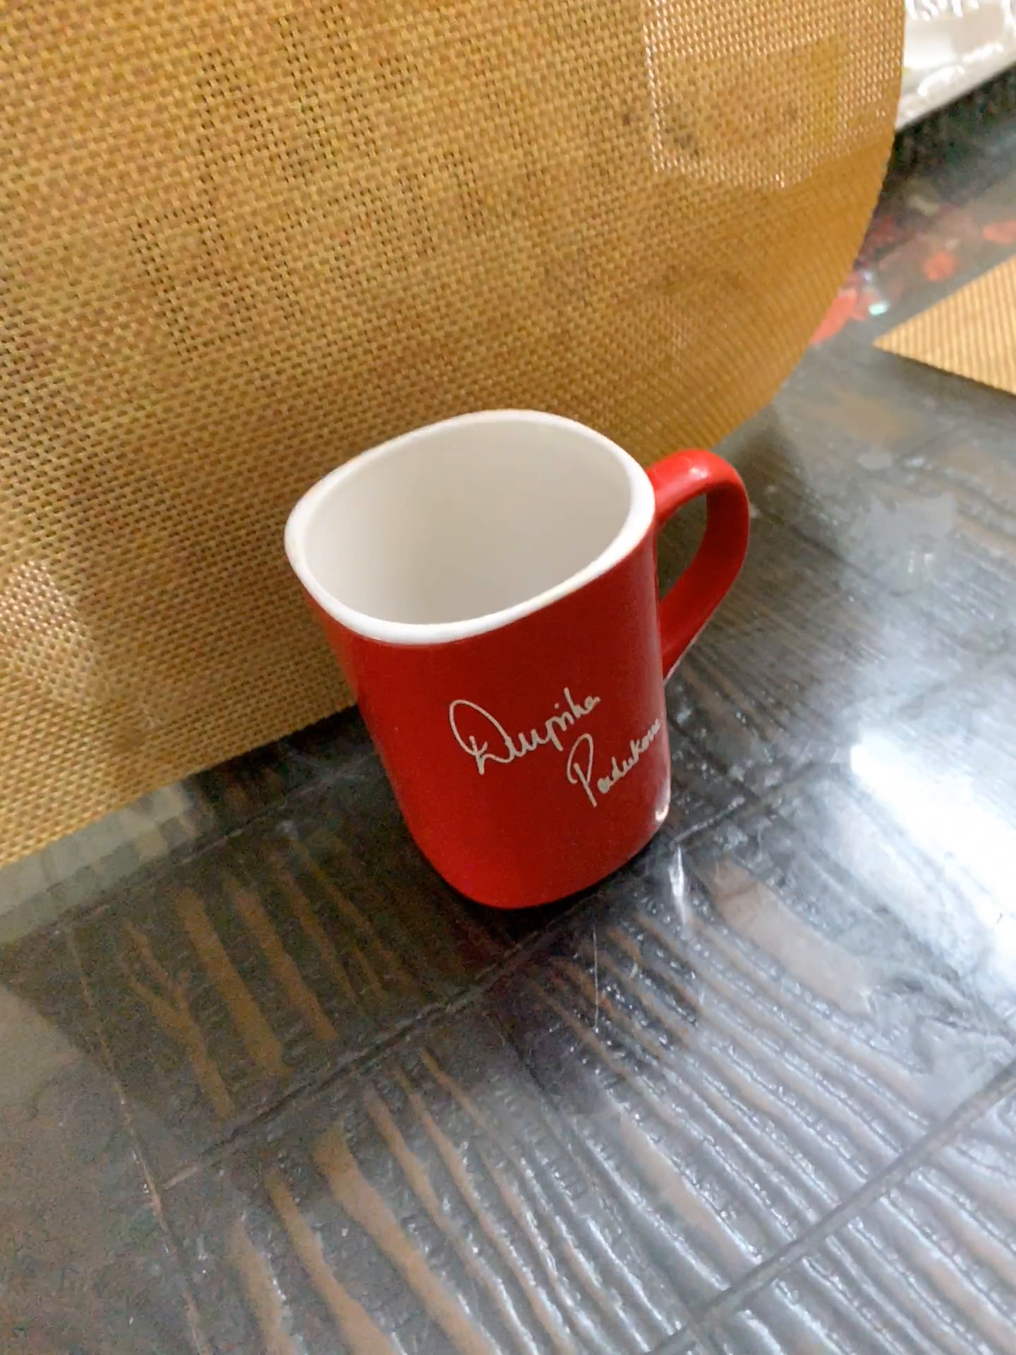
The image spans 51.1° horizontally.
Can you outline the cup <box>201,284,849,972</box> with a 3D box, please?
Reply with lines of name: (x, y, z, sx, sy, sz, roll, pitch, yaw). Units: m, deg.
cup: (0.008, -0.013, 0.220, 0.096, 0.085, 0.070, -32, 46, -18)
